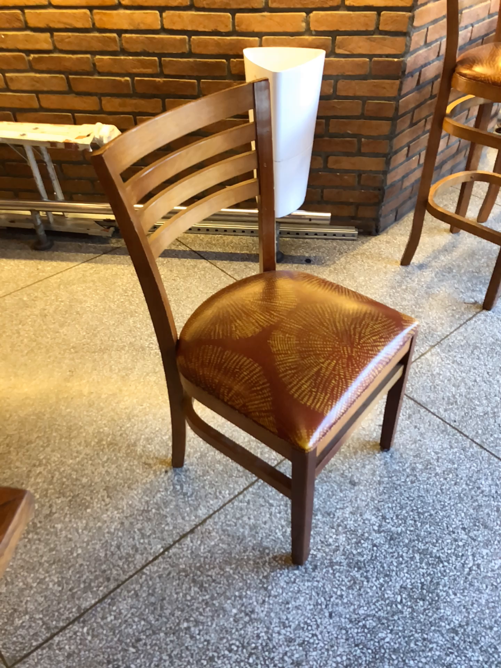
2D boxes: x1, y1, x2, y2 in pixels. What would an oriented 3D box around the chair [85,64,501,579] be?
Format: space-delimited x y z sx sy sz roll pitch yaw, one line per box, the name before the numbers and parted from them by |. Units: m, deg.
chair | 0.084 -0.007 1.126 0.471 0.845 0.452 26 49 28
